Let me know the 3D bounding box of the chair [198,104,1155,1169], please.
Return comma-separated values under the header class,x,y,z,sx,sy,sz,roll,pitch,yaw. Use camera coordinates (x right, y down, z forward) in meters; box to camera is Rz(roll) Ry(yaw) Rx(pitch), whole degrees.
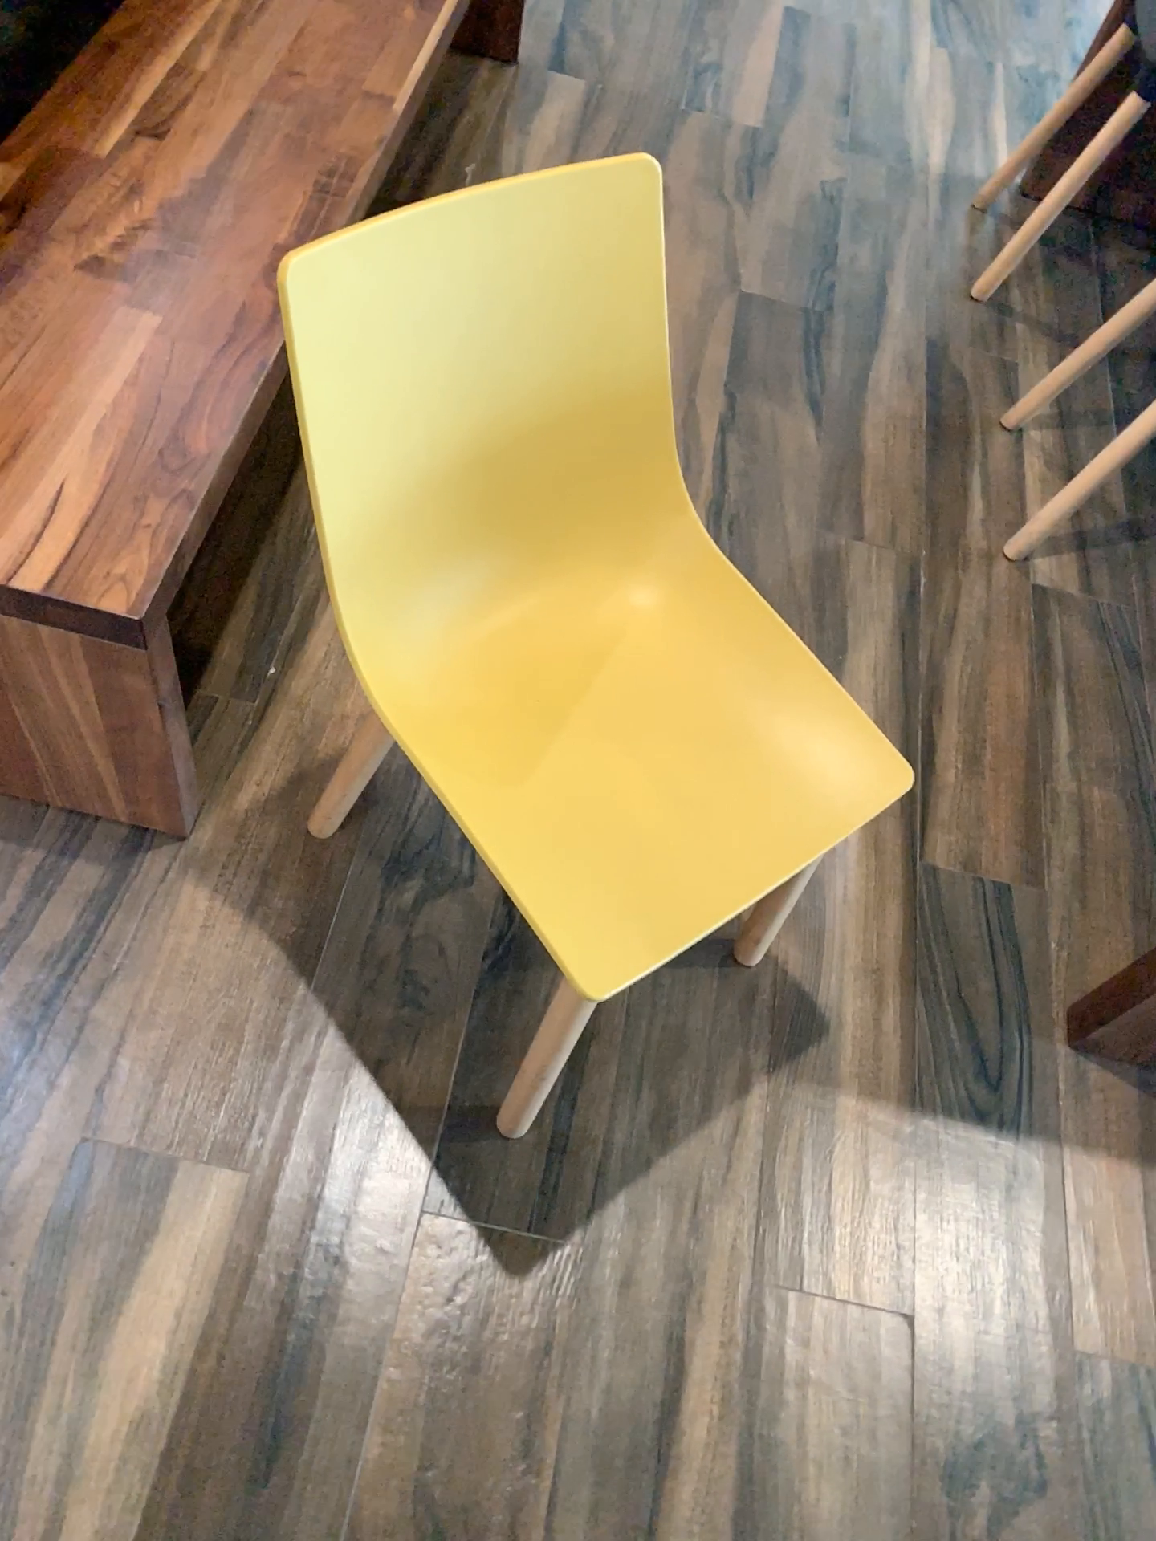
class,x,y,z,sx,sy,sz,roll,pitch,yaw
chair,0.022,-0.070,1.067,0.452,0.716,0.501,-30,68,-26
